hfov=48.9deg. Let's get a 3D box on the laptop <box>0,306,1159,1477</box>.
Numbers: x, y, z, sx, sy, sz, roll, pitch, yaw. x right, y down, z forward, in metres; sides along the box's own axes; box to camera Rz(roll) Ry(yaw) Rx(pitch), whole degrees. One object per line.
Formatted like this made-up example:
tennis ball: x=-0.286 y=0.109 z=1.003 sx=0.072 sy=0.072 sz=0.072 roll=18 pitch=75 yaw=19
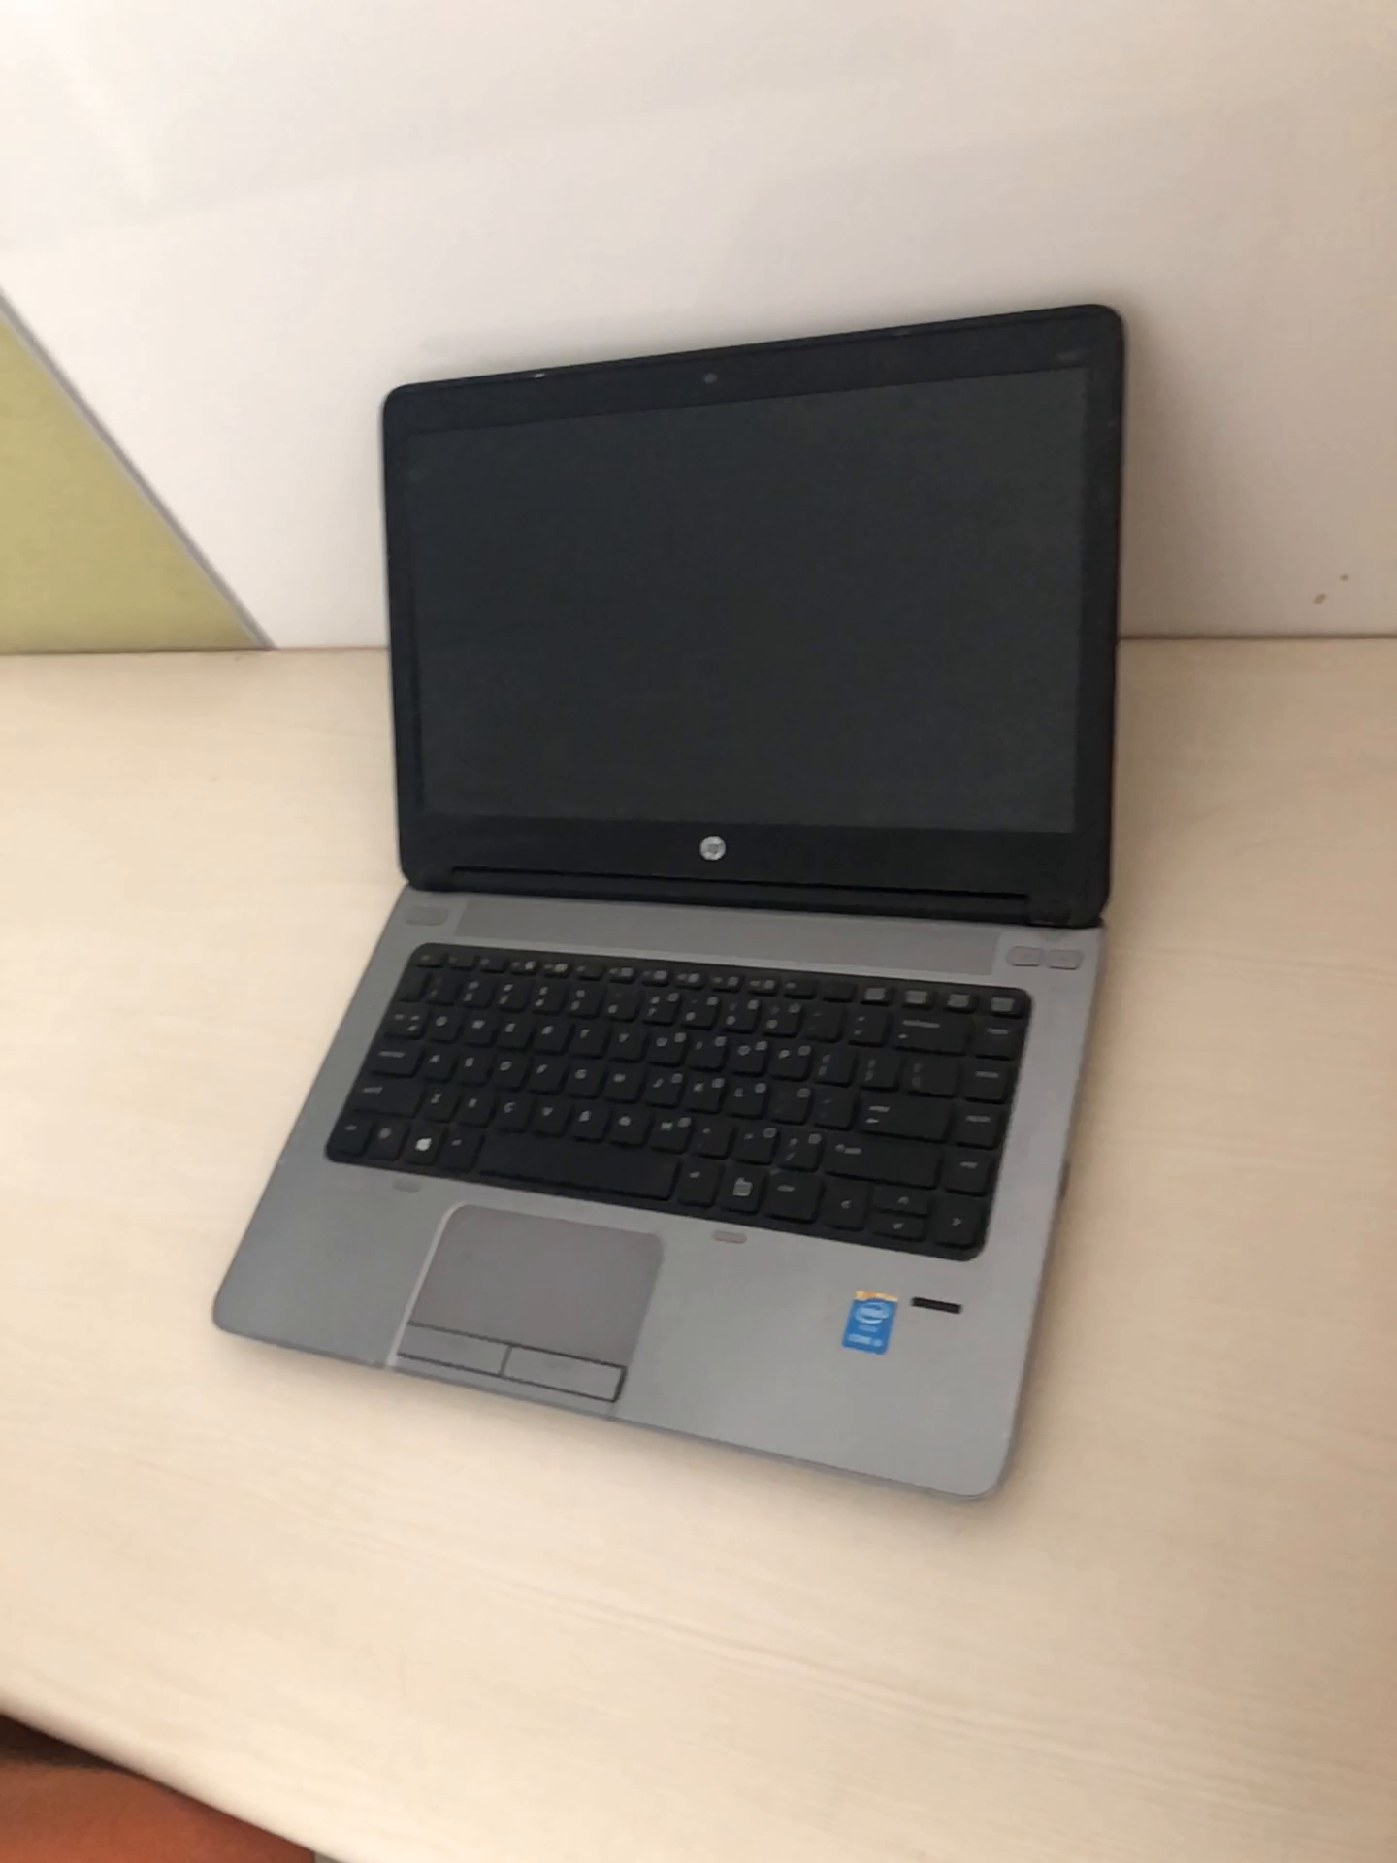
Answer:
laptop: x=-0.024 y=-0.037 z=0.591 sx=0.322 sy=0.148 sz=0.378 roll=4 pitch=57 yaw=27
